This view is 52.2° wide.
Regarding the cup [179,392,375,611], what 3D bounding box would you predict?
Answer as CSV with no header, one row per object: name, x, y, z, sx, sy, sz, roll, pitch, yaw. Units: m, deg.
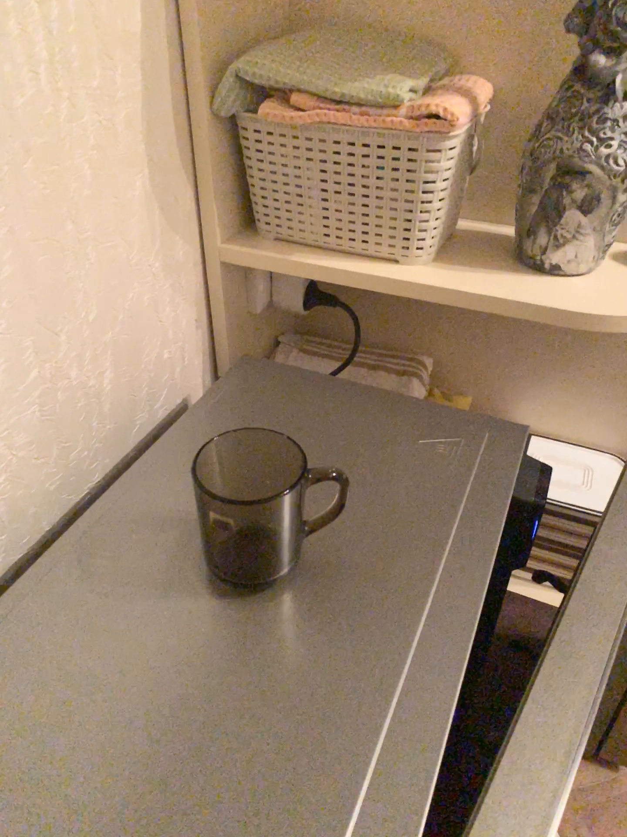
cup,-0.025,0.053,0.434,0.102,0.094,0.078,-16,40,-21
